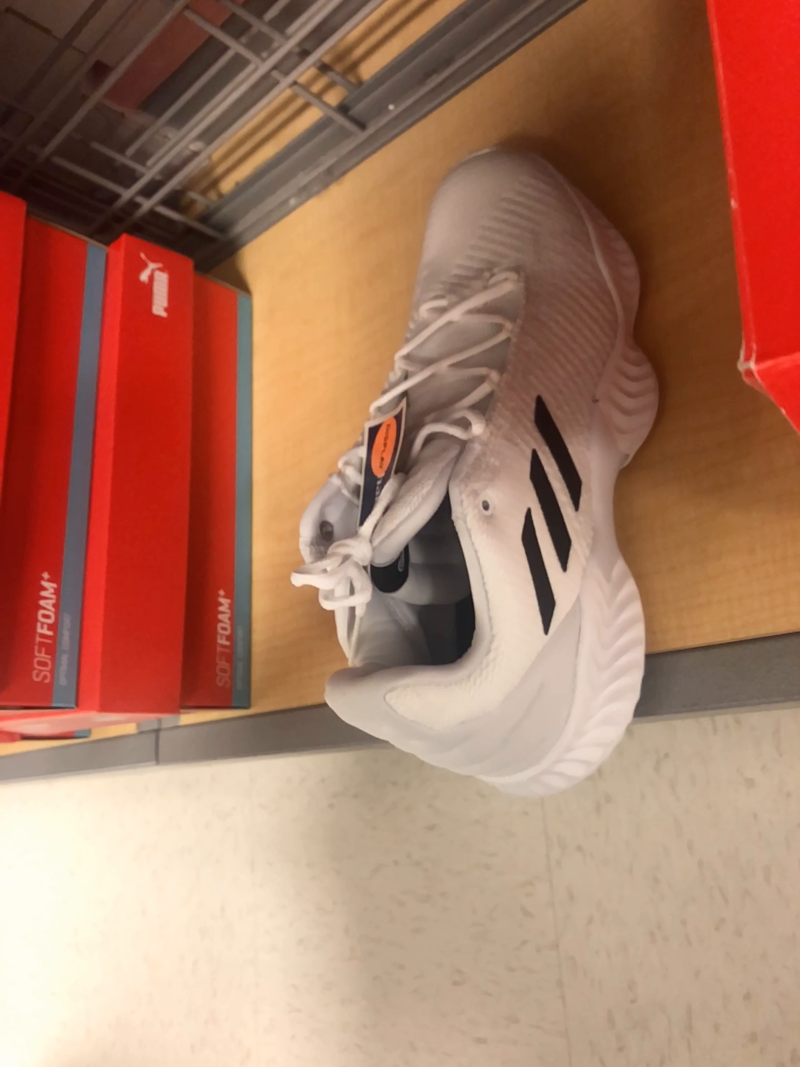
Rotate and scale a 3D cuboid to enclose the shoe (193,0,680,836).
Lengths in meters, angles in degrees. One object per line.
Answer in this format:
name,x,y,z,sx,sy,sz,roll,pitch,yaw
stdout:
shoe,0.022,-0.059,0.379,0.121,0.149,0.335,-9,75,43
